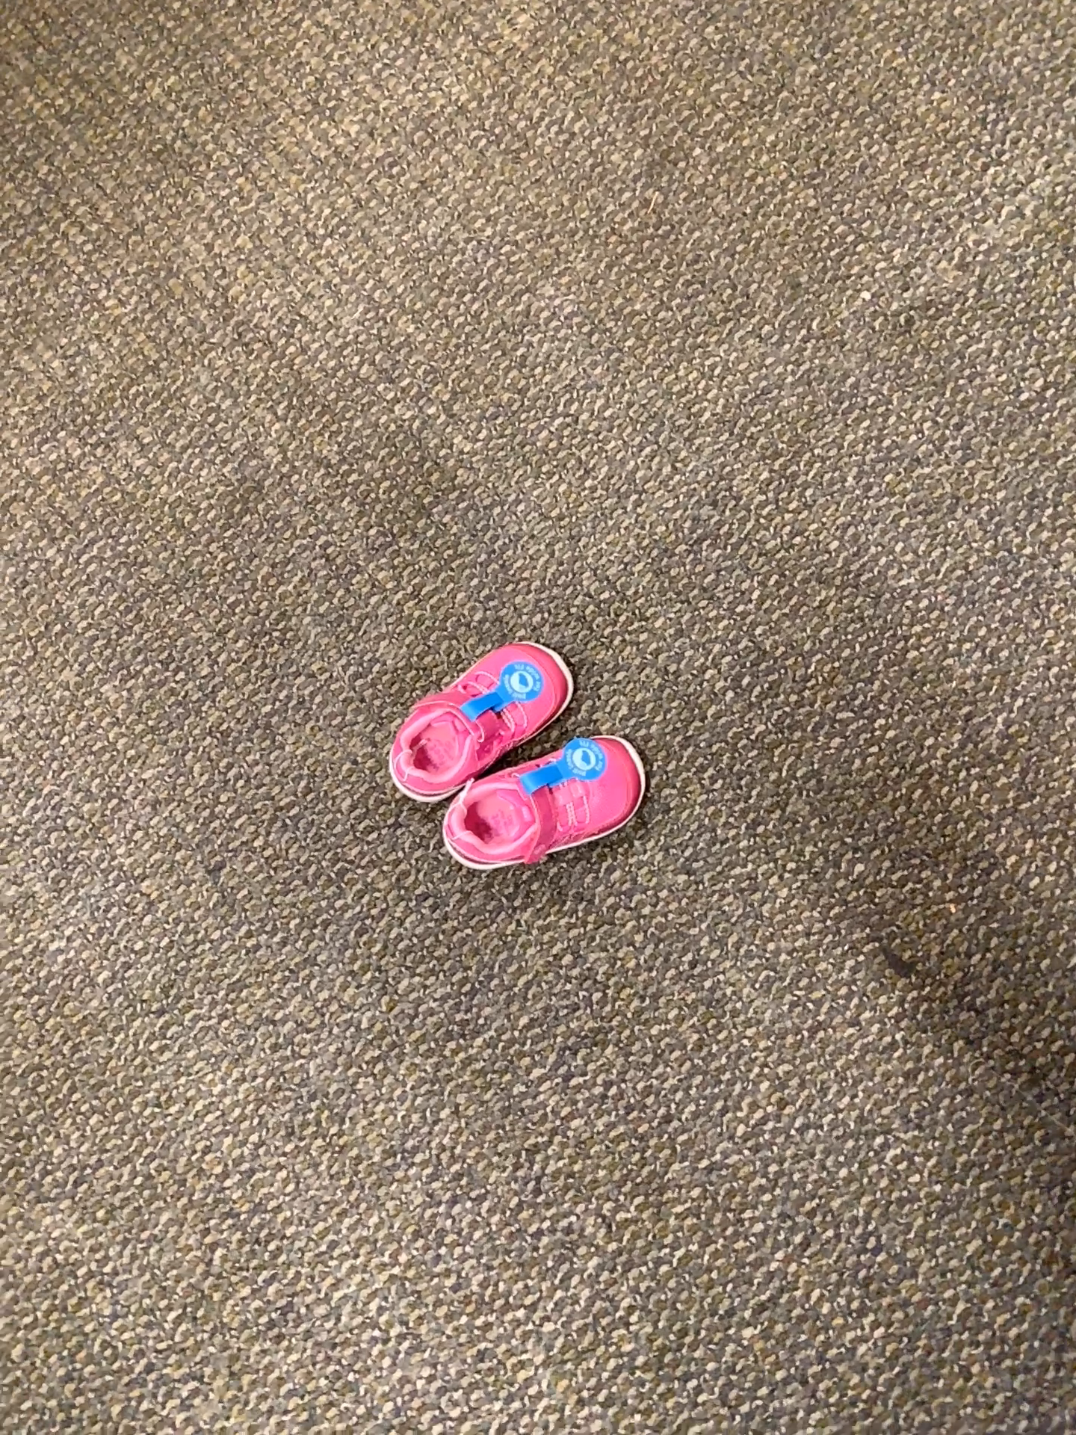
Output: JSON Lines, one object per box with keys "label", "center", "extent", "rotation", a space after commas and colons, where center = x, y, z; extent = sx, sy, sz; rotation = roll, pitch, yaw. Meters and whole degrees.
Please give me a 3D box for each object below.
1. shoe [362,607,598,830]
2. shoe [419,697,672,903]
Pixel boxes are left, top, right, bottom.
{"label": "shoe", "center": [-0.037, 0.002, 0.731], "extent": [0.140, 0.040, 0.070], "rotation": [-39, 79, -2]}
{"label": "shoe", "center": [0.006, 0.054, 0.696], "extent": [0.140, 0.040, 0.070], "rotation": [-27, 79, 0]}
